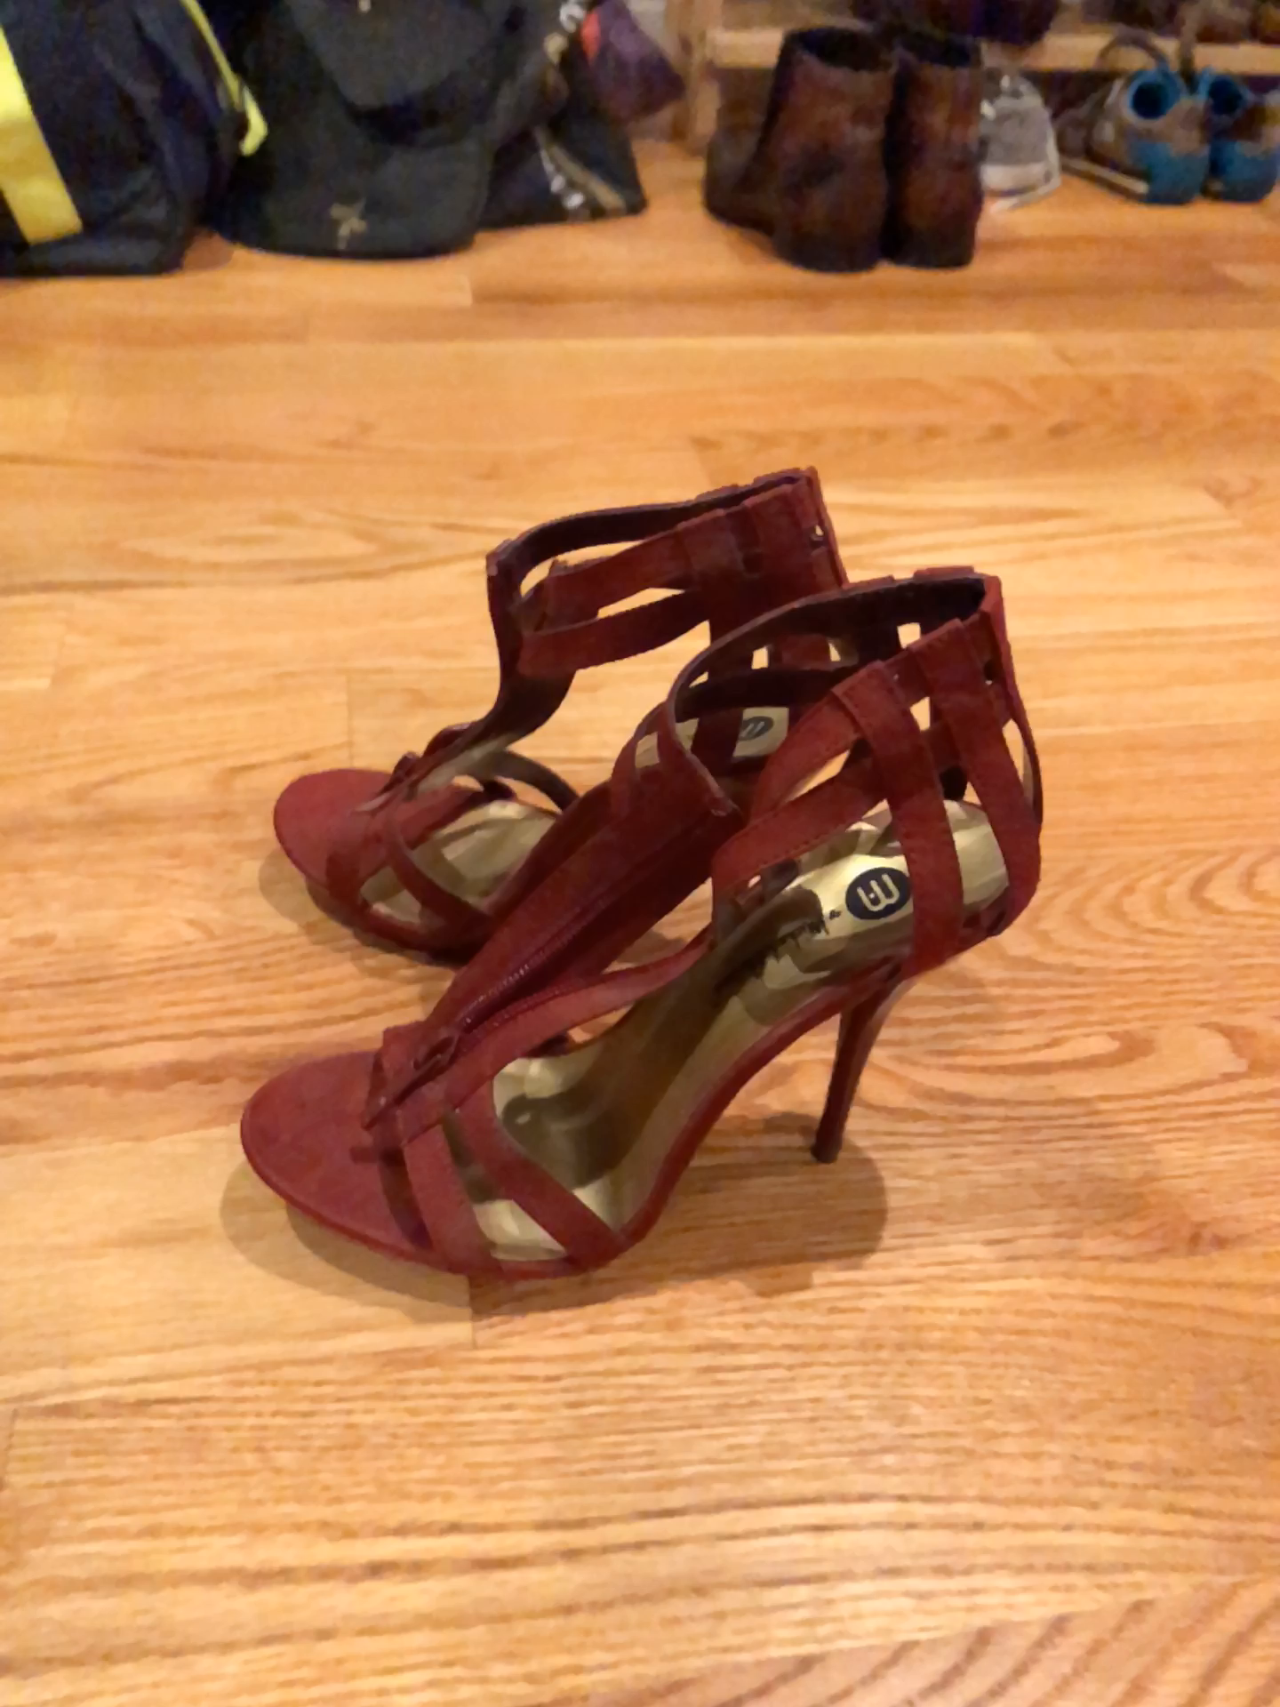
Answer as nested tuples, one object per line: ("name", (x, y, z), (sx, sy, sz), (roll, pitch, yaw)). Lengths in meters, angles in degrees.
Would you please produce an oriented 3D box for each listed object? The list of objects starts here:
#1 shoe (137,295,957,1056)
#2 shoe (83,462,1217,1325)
("shoe", (-0.024, -0.054, 0.427), (0.199, 0.175, 0.086), (12, 38, 12))
("shoe", (-0.002, 0.010, 0.339), (0.206, 0.175, 0.086), (-5, 38, -10))
